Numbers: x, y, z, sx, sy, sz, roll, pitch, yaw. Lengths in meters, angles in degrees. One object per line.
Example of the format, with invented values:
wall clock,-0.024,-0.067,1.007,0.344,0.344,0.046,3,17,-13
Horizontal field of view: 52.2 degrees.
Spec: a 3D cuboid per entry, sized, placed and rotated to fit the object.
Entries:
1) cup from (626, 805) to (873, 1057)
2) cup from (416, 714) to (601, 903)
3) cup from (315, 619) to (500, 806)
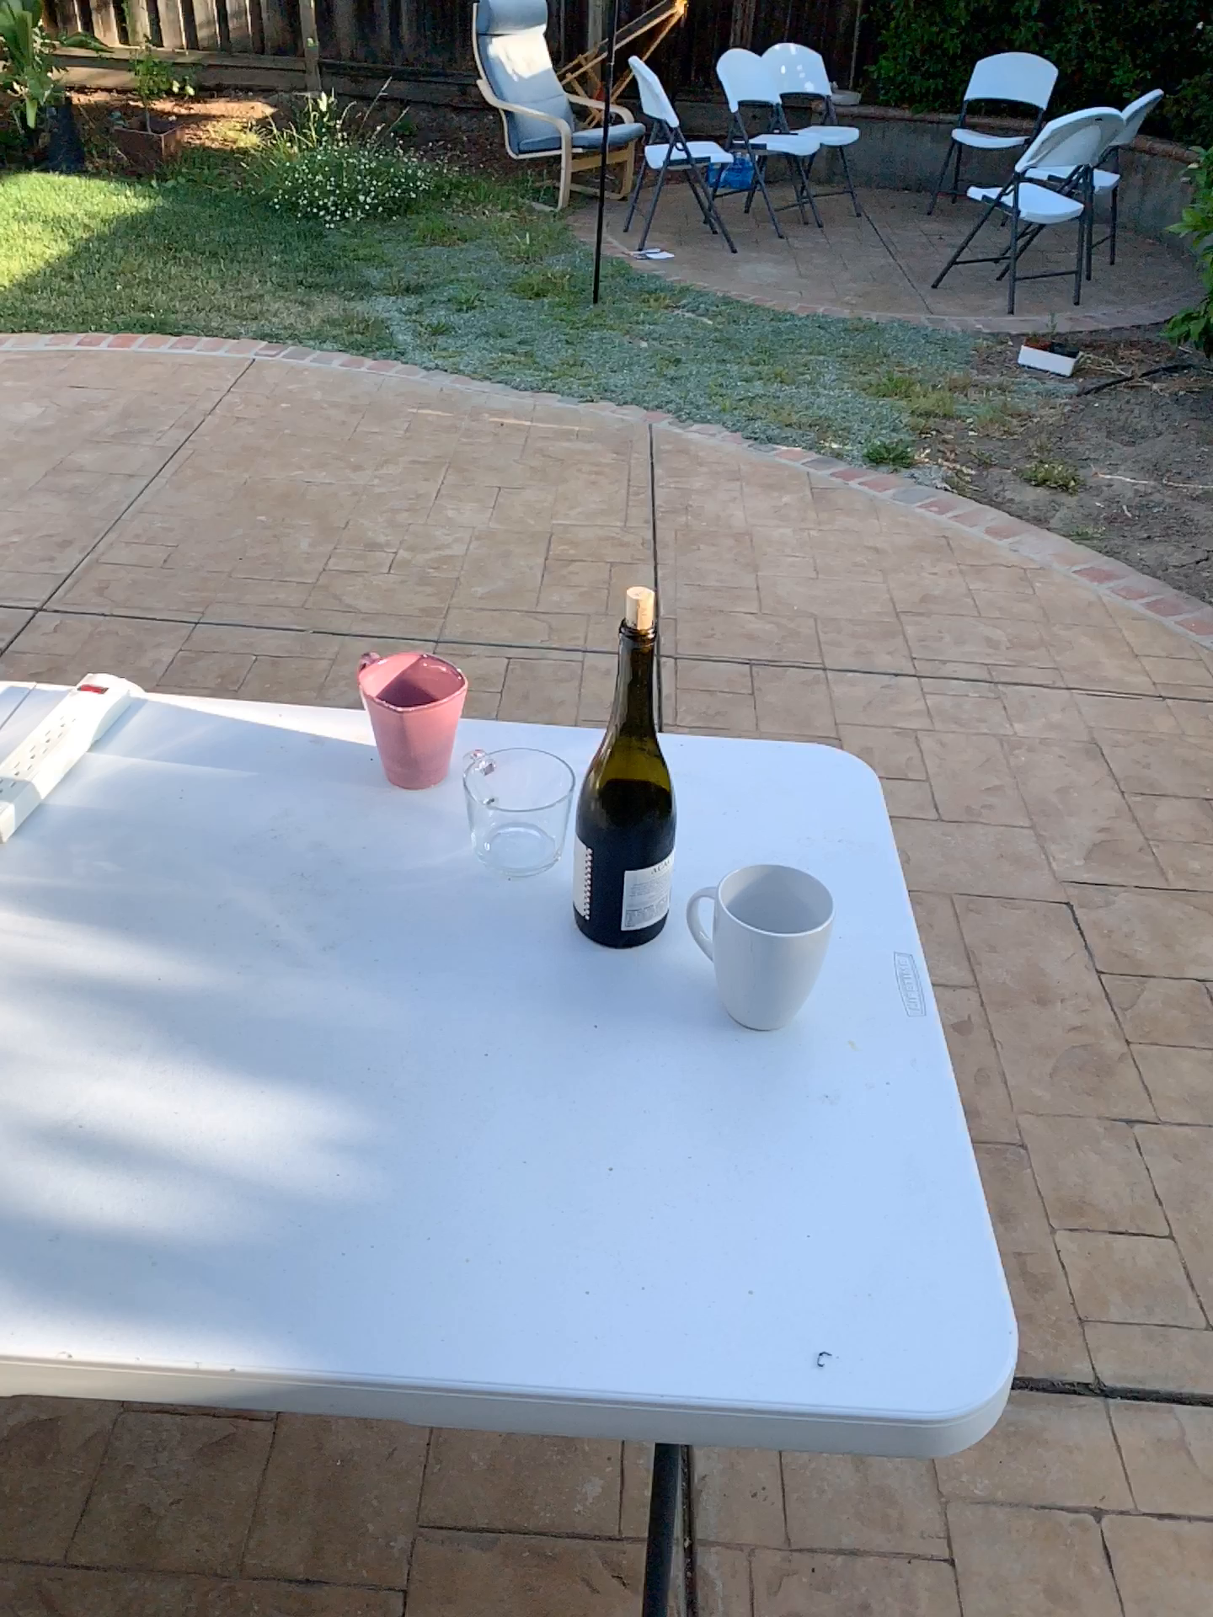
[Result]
cup,0.107,0.090,0.952,0.141,0.099,0.110,30,43,32
cup,-0.094,-0.004,1.164,0.110,0.089,0.141,-23,43,-31
cup,-0.180,-0.090,1.125,0.110,0.089,0.141,-20,42,-29
